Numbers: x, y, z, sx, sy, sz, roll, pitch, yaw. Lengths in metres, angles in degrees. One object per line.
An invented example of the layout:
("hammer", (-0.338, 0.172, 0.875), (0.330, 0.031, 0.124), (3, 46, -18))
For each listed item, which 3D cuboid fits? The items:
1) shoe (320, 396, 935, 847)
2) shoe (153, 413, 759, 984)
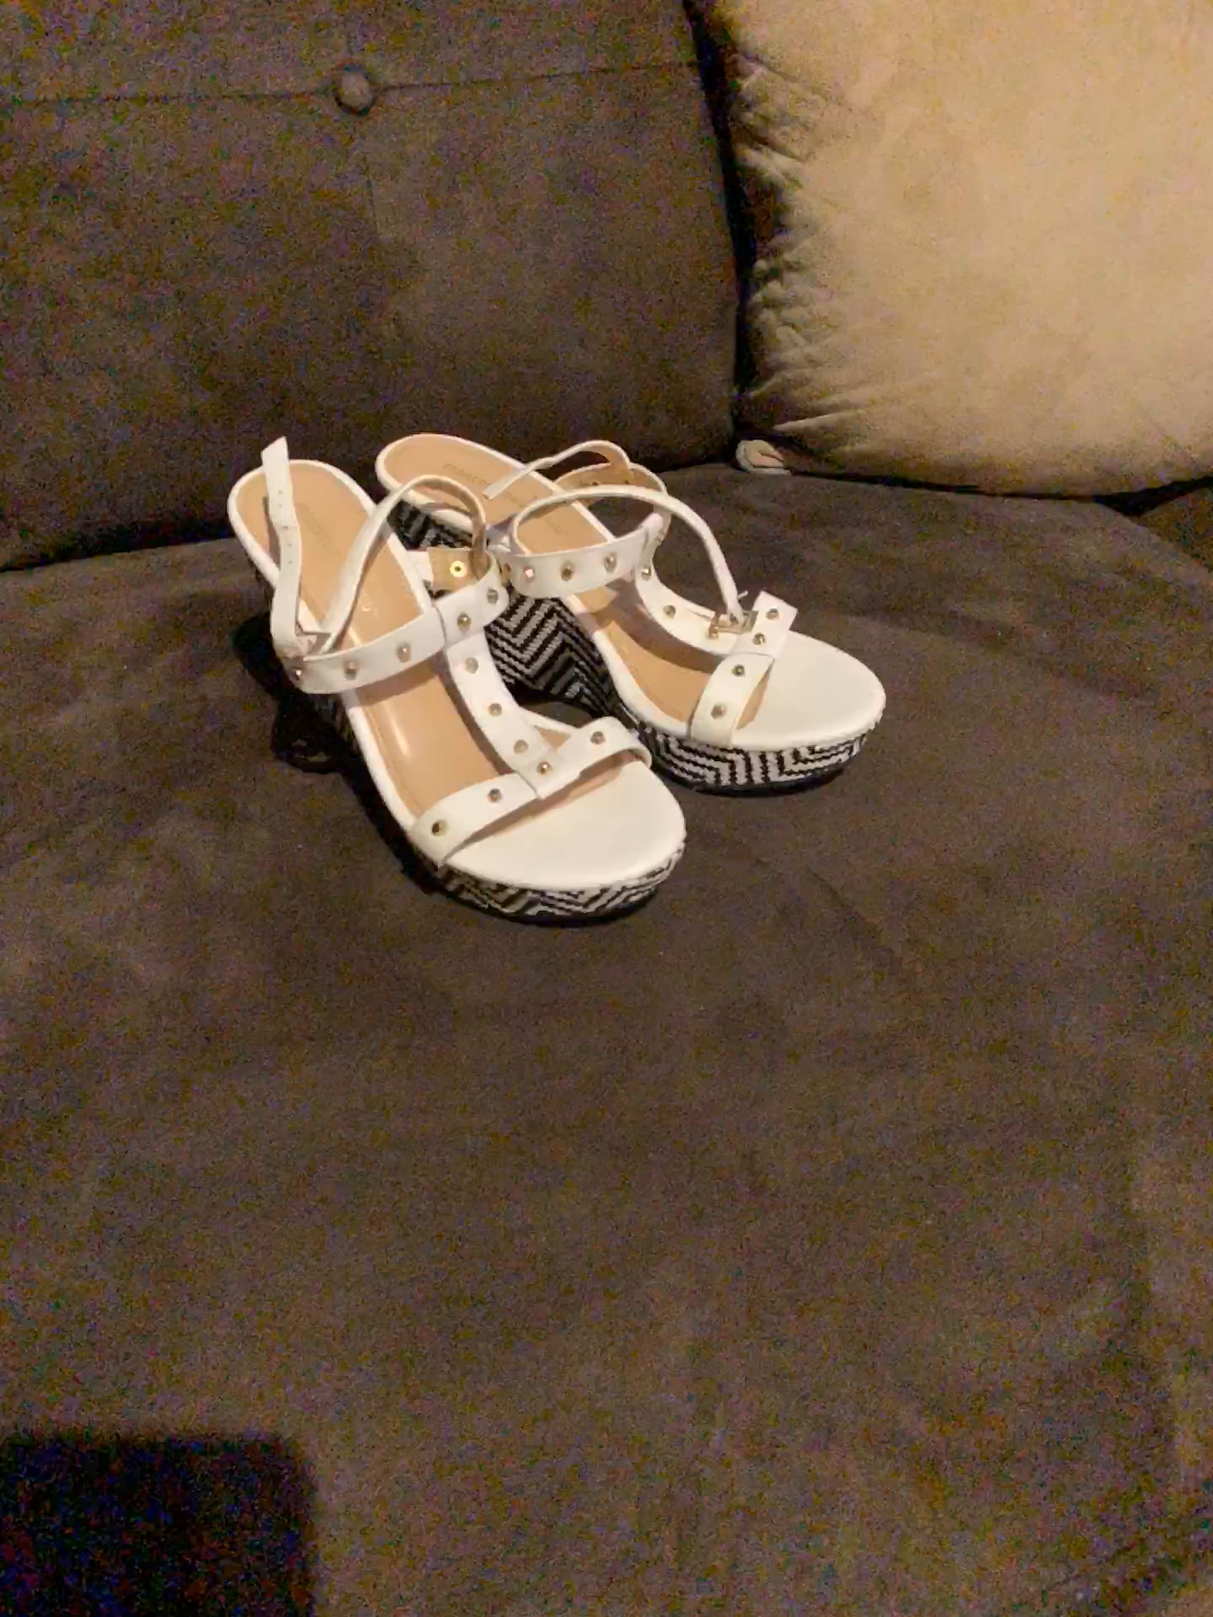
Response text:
("shoe", (0.002, -0.095, 0.564), (0.250, 0.099, 0.100), (24, 42, 24))
("shoe", (-0.074, -0.063, 0.521), (0.110, 0.099, 0.261), (-25, 48, -32))
